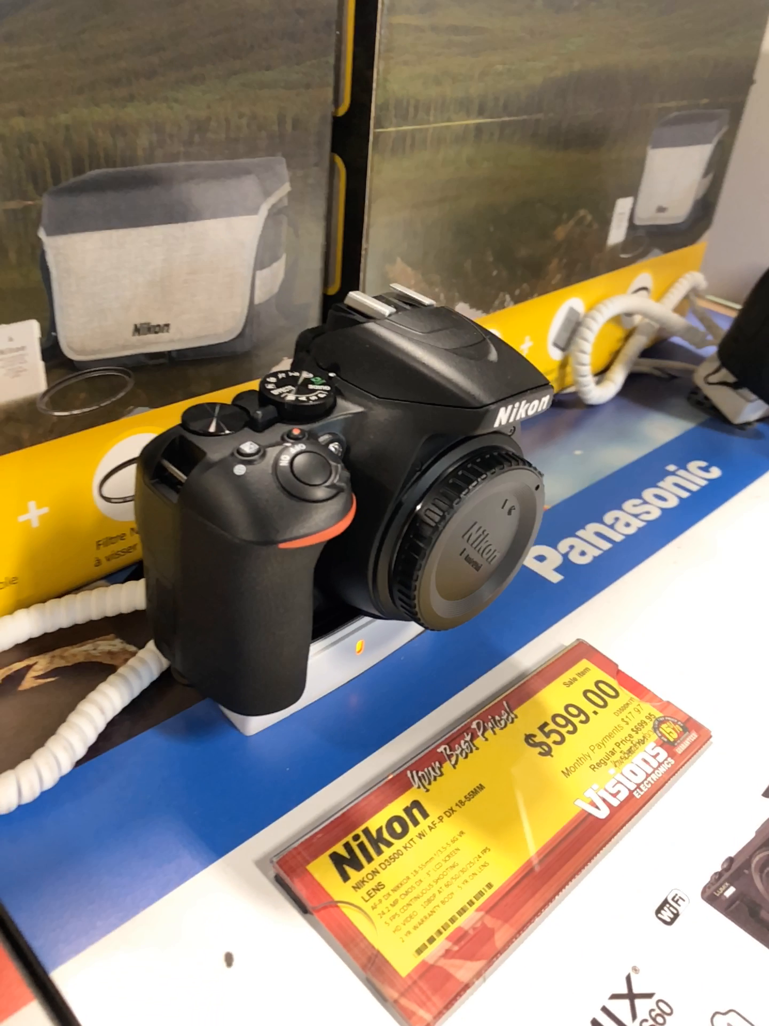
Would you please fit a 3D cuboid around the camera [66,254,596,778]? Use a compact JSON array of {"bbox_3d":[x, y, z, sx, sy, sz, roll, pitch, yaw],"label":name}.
[{"bbox_3d":[-0.015,-0.009,0.257,0.120,0.099,0.080,-23,43,-37],"label":"camera"}]
